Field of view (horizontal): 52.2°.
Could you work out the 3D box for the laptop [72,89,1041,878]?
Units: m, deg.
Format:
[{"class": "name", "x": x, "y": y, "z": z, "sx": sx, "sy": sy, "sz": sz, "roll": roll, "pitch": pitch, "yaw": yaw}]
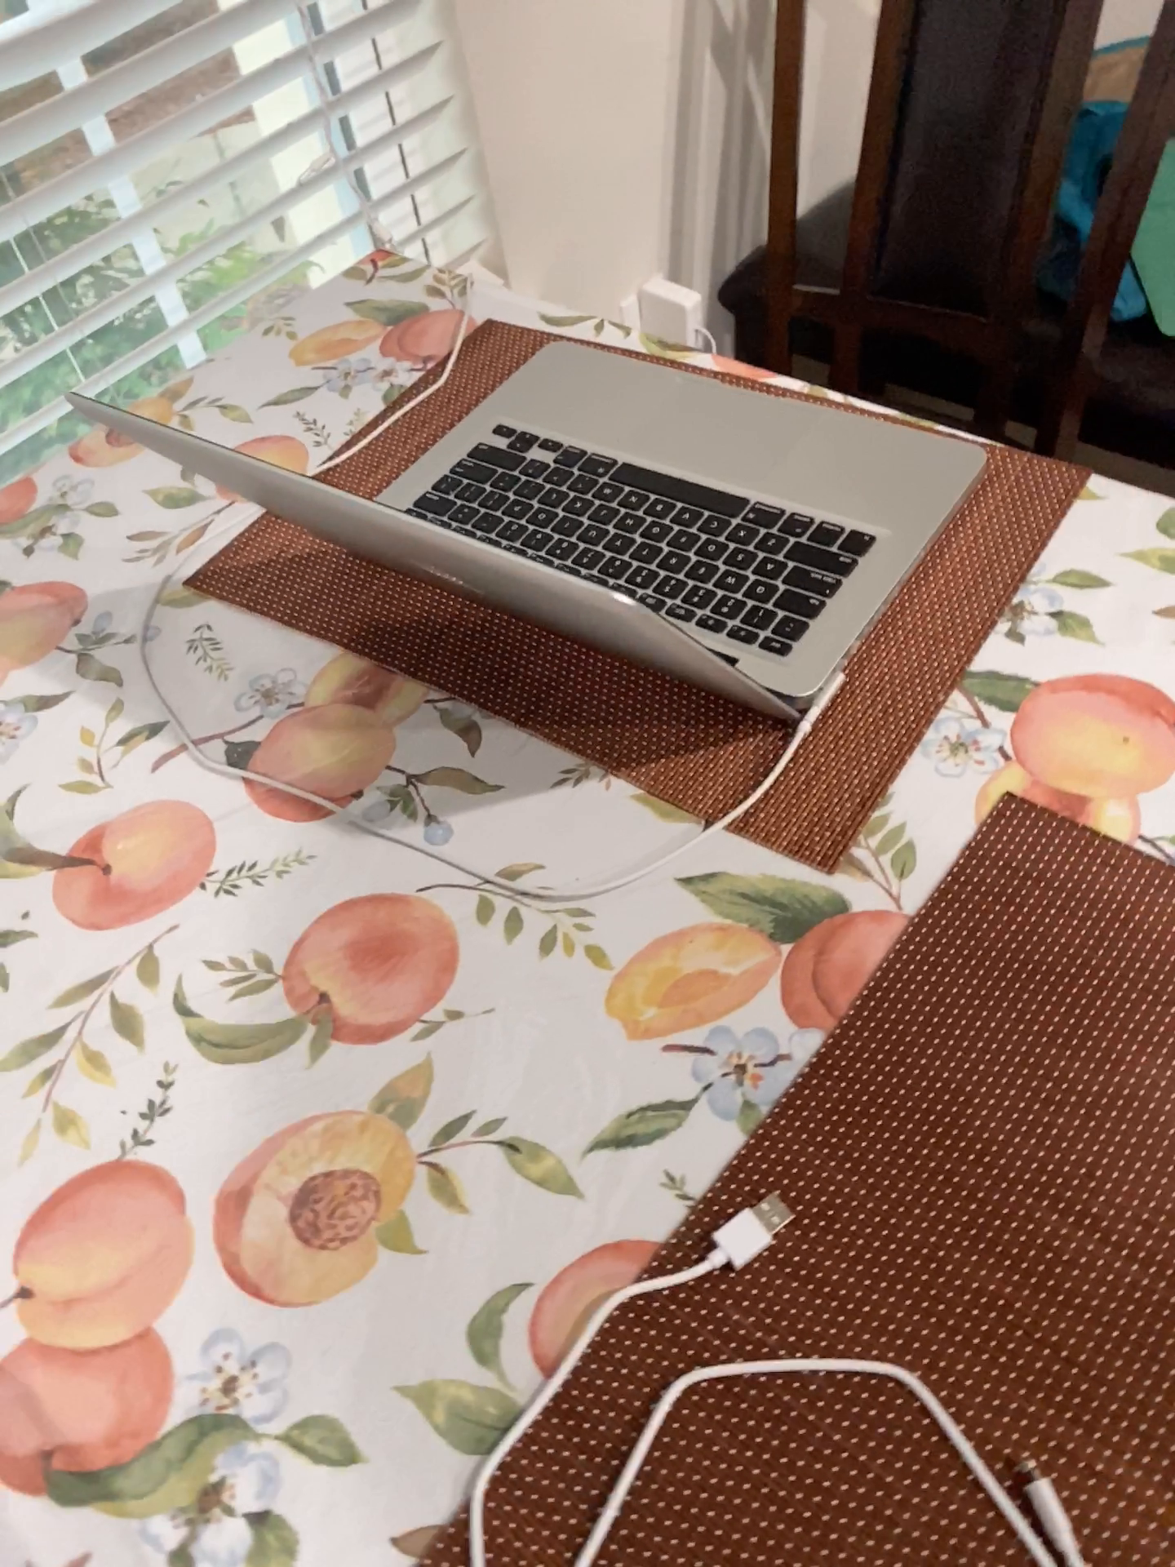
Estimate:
[{"class": "laptop", "x": 0.001, "y": -0.187, "z": 0.628, "sx": 0.317, "sy": 0.162, "sz": 0.349, "roll": 25, "pitch": 59, "yaw": 27}]
